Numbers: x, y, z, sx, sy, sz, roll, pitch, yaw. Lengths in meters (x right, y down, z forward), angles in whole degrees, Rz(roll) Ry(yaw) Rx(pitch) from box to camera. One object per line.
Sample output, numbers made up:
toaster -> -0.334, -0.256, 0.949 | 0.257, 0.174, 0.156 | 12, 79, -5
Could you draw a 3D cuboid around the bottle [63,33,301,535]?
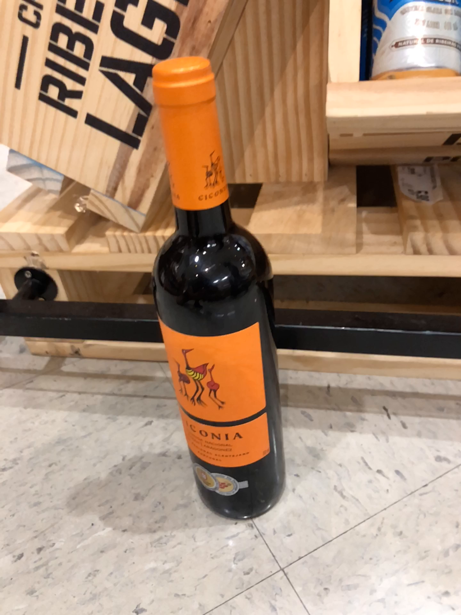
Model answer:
bottle -> -0.007, 0.011, 0.325 | 0.080, 0.317, 0.070 | 12, 40, 24
